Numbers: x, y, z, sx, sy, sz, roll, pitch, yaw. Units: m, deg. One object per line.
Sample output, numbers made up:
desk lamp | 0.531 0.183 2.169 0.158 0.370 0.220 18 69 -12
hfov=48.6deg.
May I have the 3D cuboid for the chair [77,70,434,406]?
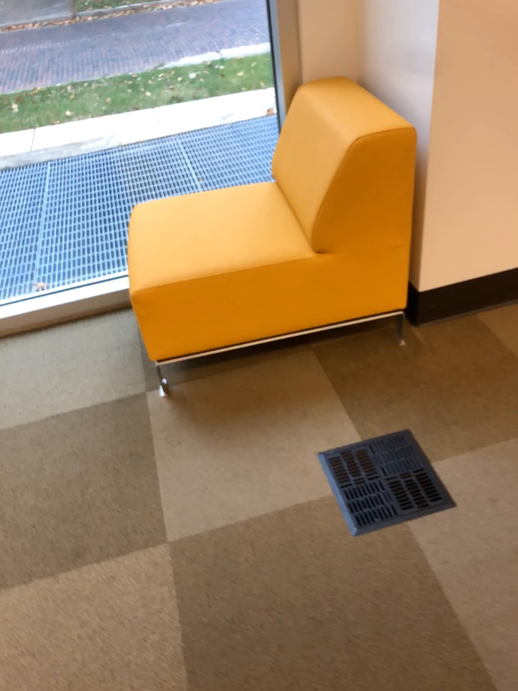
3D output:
chair | -0.016 -0.390 1.978 0.946 0.751 0.674 -12 38 -4
